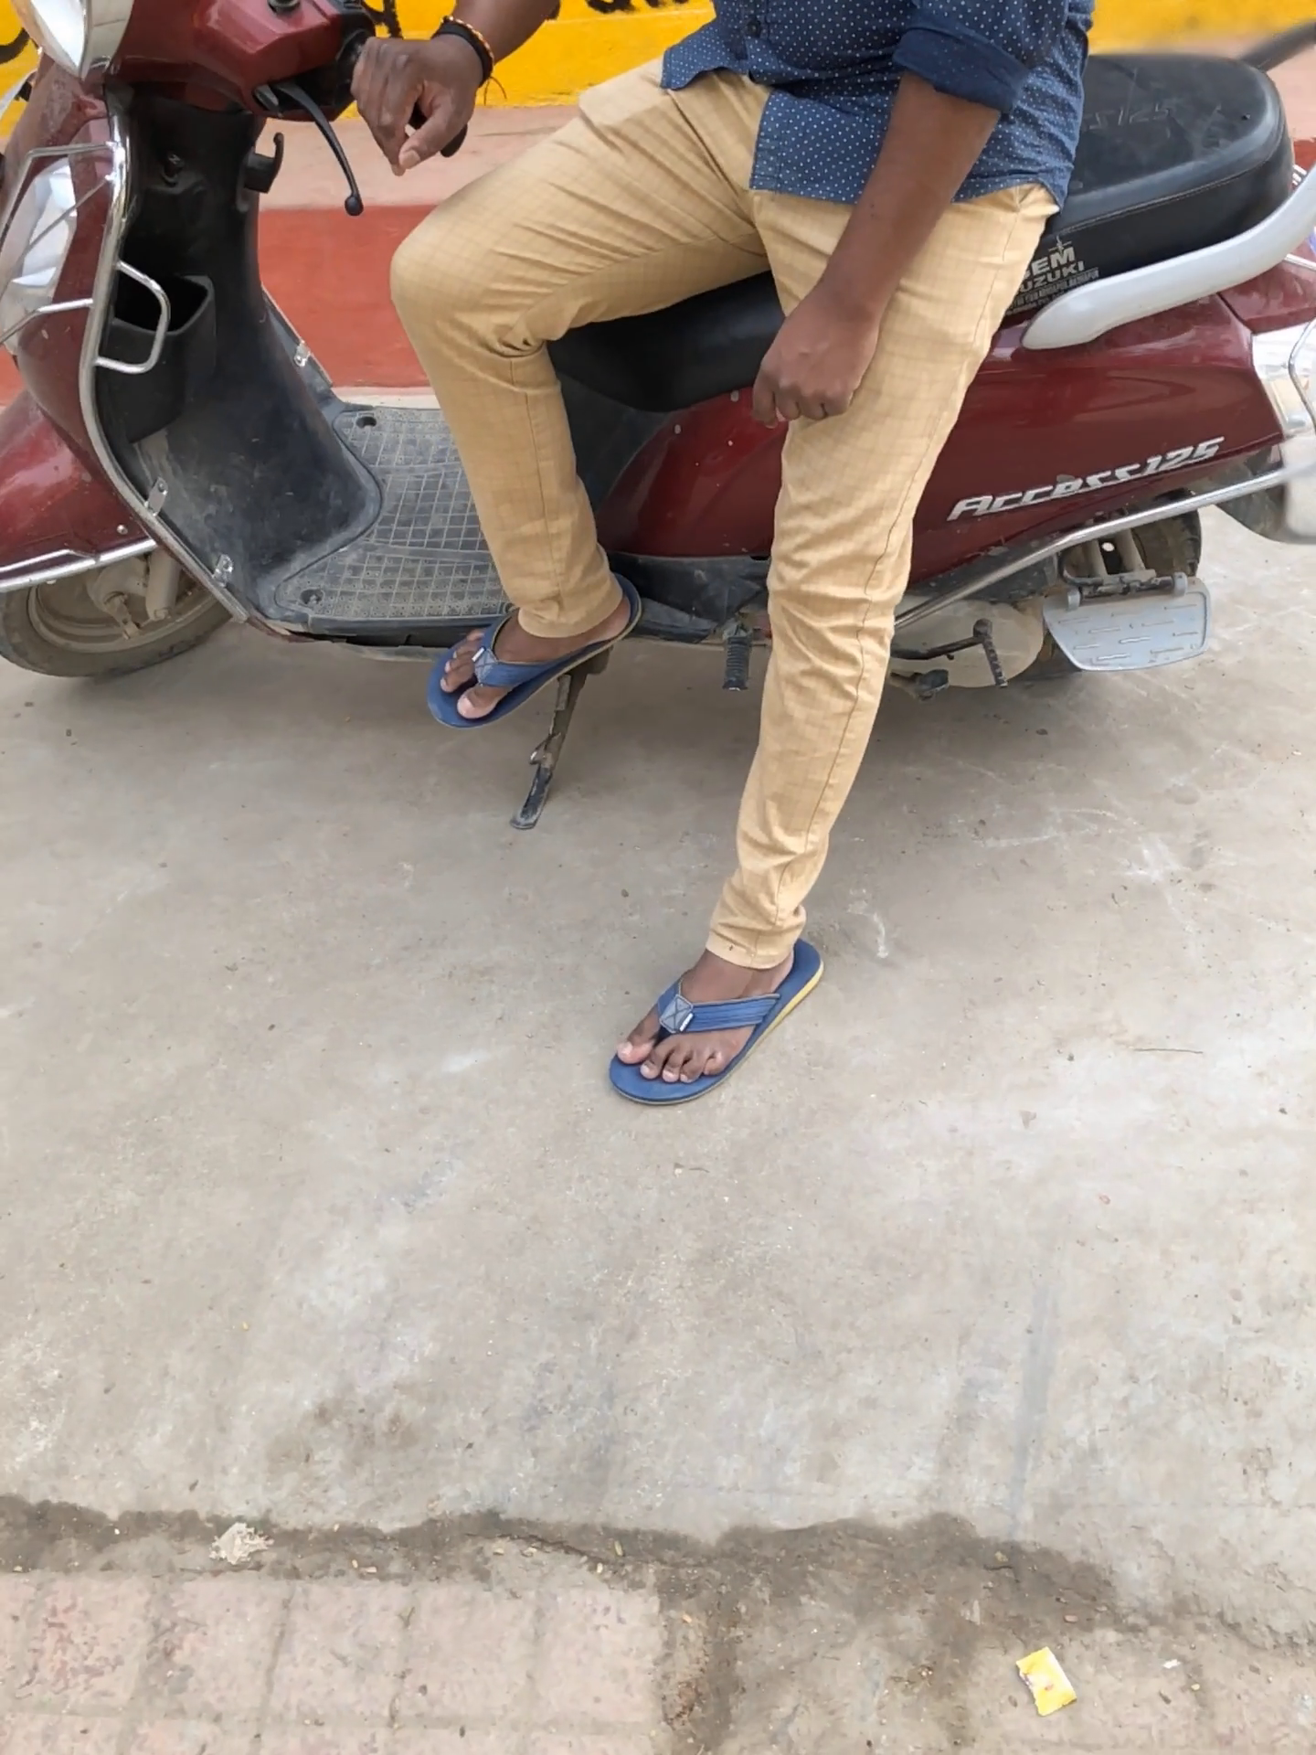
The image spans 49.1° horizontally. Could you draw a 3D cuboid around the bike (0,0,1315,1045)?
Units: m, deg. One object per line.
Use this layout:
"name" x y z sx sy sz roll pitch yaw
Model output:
"bike" -0.221 -0.490 1.448 1.377 1.087 0.632 -4 41 -1
